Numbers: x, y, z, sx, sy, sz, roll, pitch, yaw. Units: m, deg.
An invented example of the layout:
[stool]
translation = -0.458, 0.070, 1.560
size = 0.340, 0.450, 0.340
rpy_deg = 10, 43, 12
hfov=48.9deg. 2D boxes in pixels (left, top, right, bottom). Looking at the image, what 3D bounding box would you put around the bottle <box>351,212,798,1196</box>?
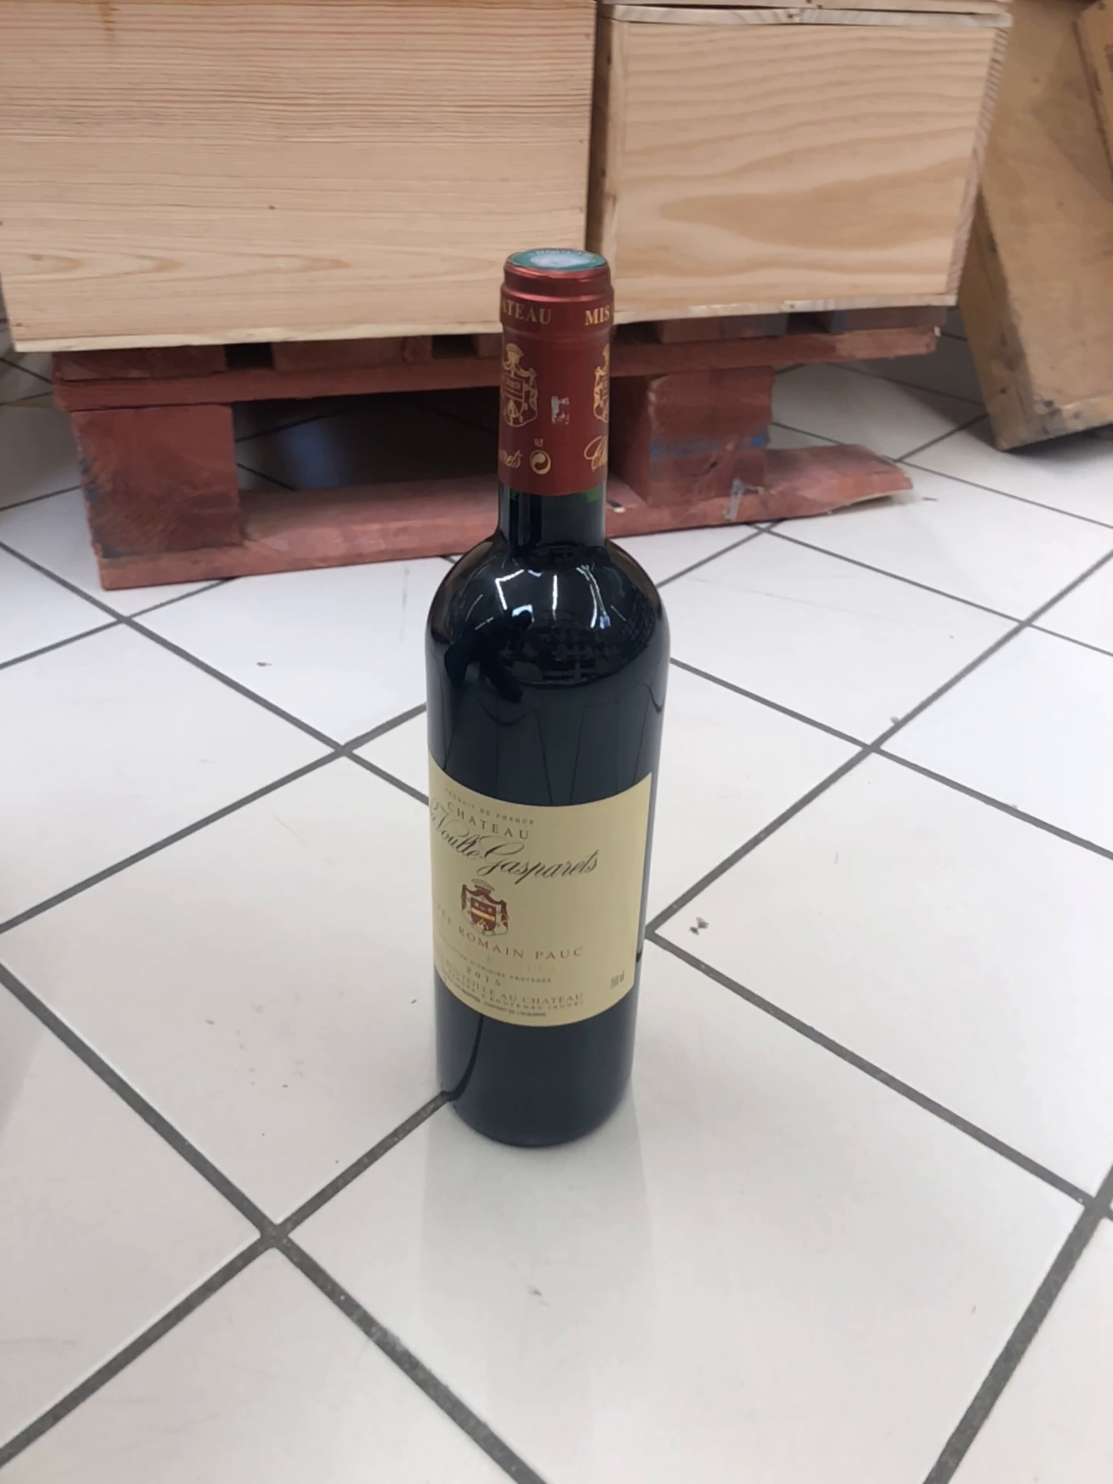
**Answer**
[bottle]
translation = 0.002, 0.000, 0.384
size = 0.080, 0.288, 0.091
rpy_deg = 17, 36, 21
